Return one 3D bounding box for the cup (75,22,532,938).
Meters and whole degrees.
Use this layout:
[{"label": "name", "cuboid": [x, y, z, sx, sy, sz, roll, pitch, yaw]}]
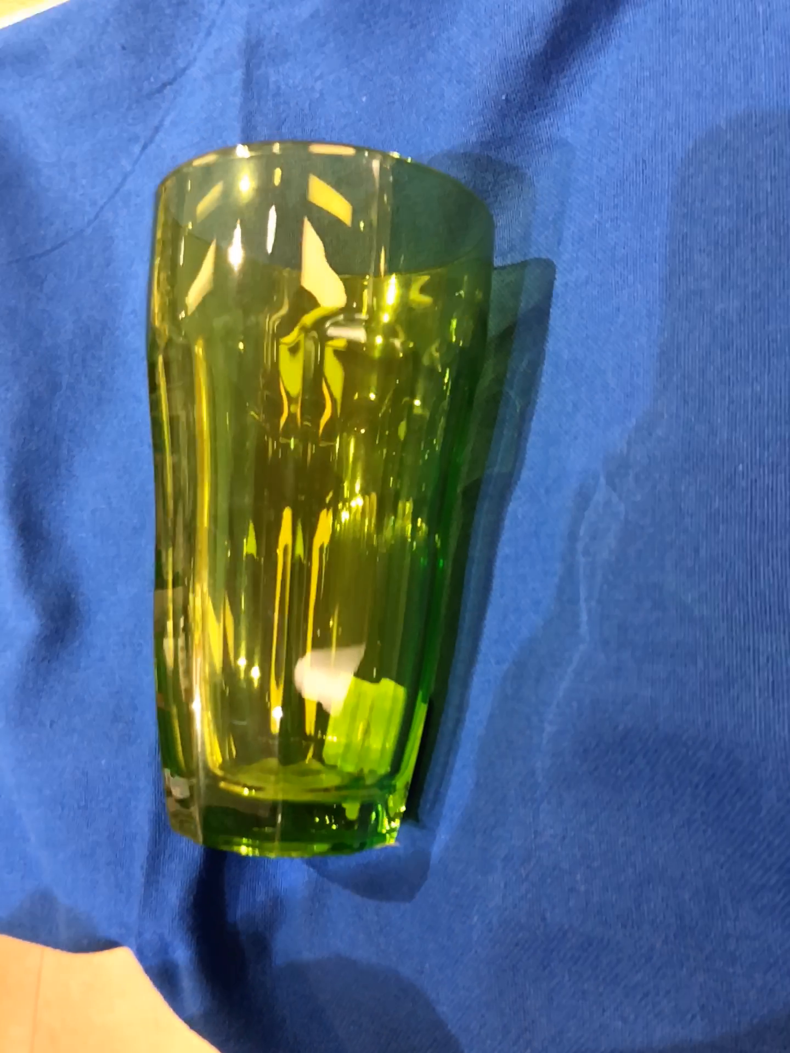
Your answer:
[{"label": "cup", "cuboid": [-0.015, -0.008, 0.199, 0.070, 0.070, 0.160, -2, 83, 29]}]
